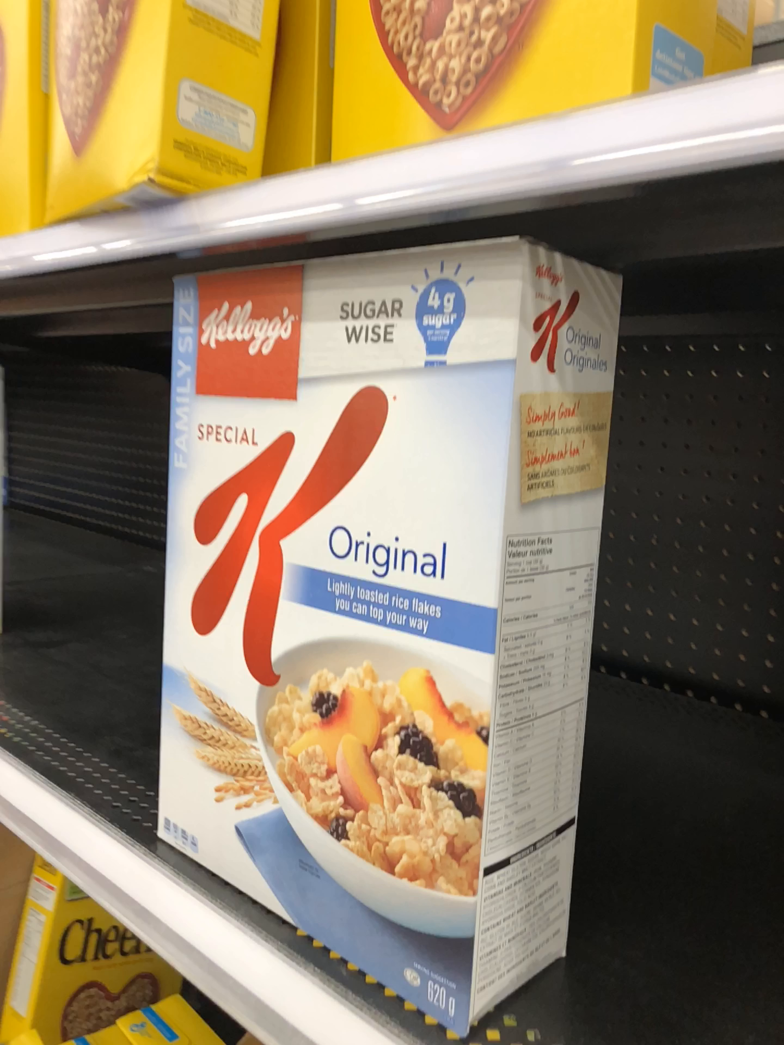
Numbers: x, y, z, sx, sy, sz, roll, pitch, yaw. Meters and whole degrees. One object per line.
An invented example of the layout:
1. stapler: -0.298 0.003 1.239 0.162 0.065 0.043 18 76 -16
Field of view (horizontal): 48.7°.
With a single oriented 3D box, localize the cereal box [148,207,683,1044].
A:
1. cereal box: -0.011 0.036 0.432 0.260 0.329 0.080 8 9 40
